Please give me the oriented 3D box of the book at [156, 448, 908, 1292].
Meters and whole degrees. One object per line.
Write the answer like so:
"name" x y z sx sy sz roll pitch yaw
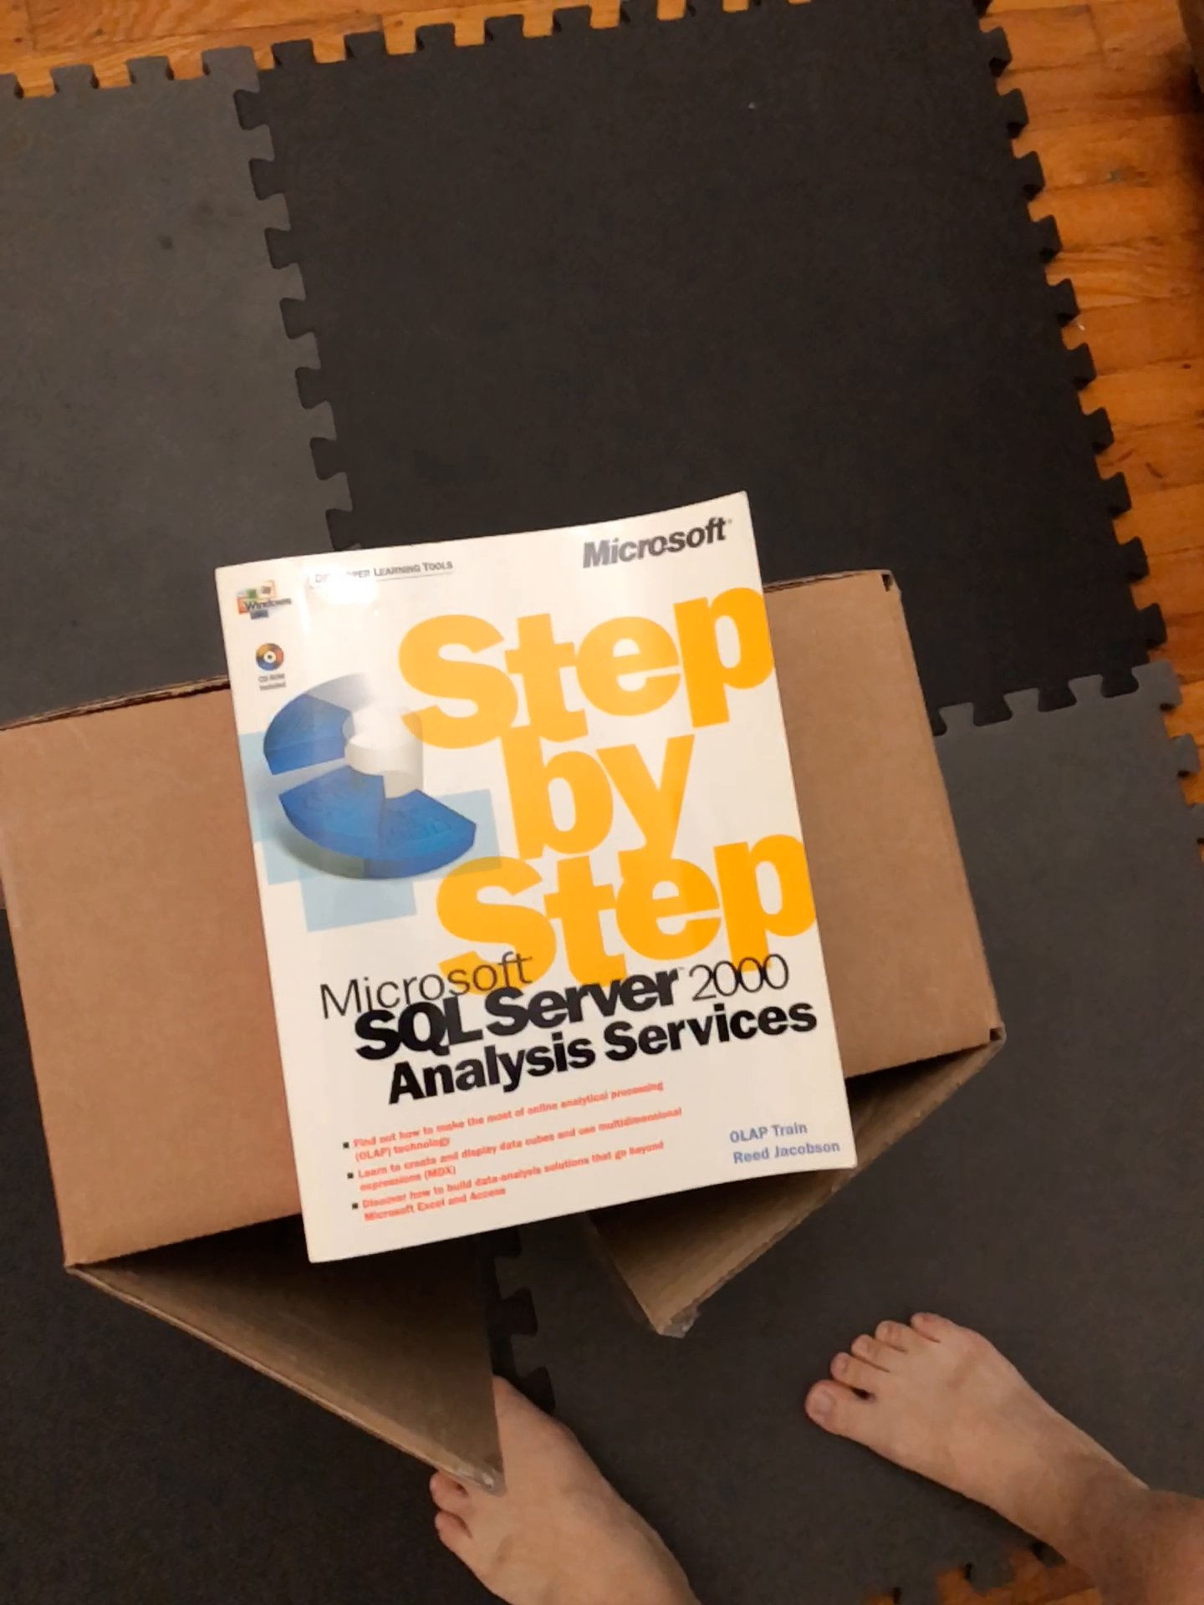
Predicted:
"book" -0.024 0.016 0.467 0.200 0.050 0.240 -14 87 -12
